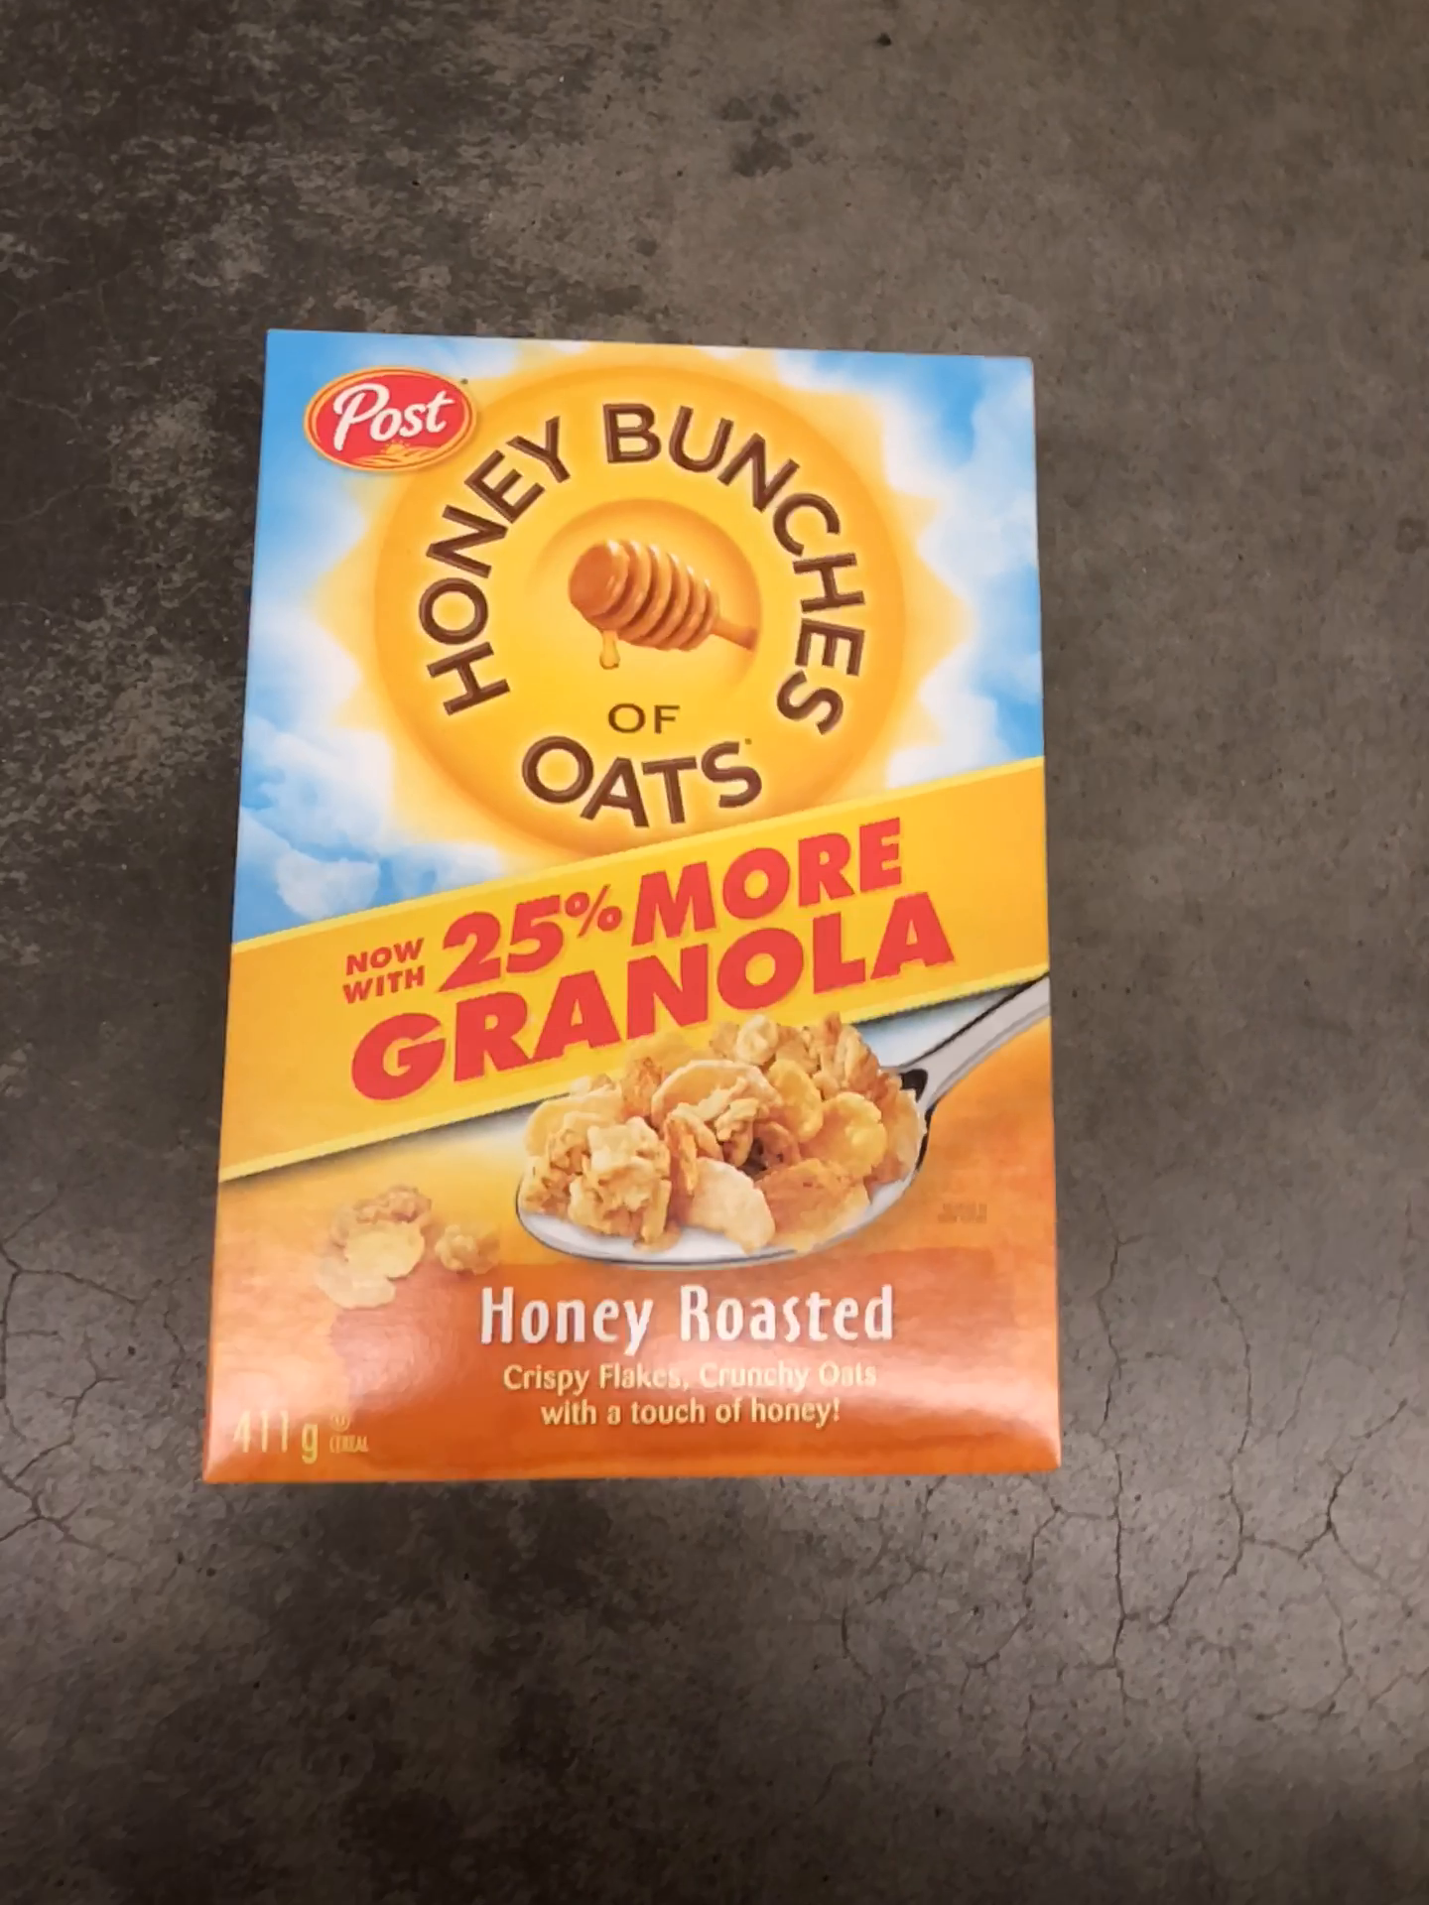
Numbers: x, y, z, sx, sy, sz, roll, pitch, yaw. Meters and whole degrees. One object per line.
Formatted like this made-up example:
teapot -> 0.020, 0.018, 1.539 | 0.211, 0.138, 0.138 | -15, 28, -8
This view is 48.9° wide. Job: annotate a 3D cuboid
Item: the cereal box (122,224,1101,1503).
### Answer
cereal box -> -0.020, -0.020, 0.383 | 0.210, 0.060, 0.280 | 2, 83, -8
